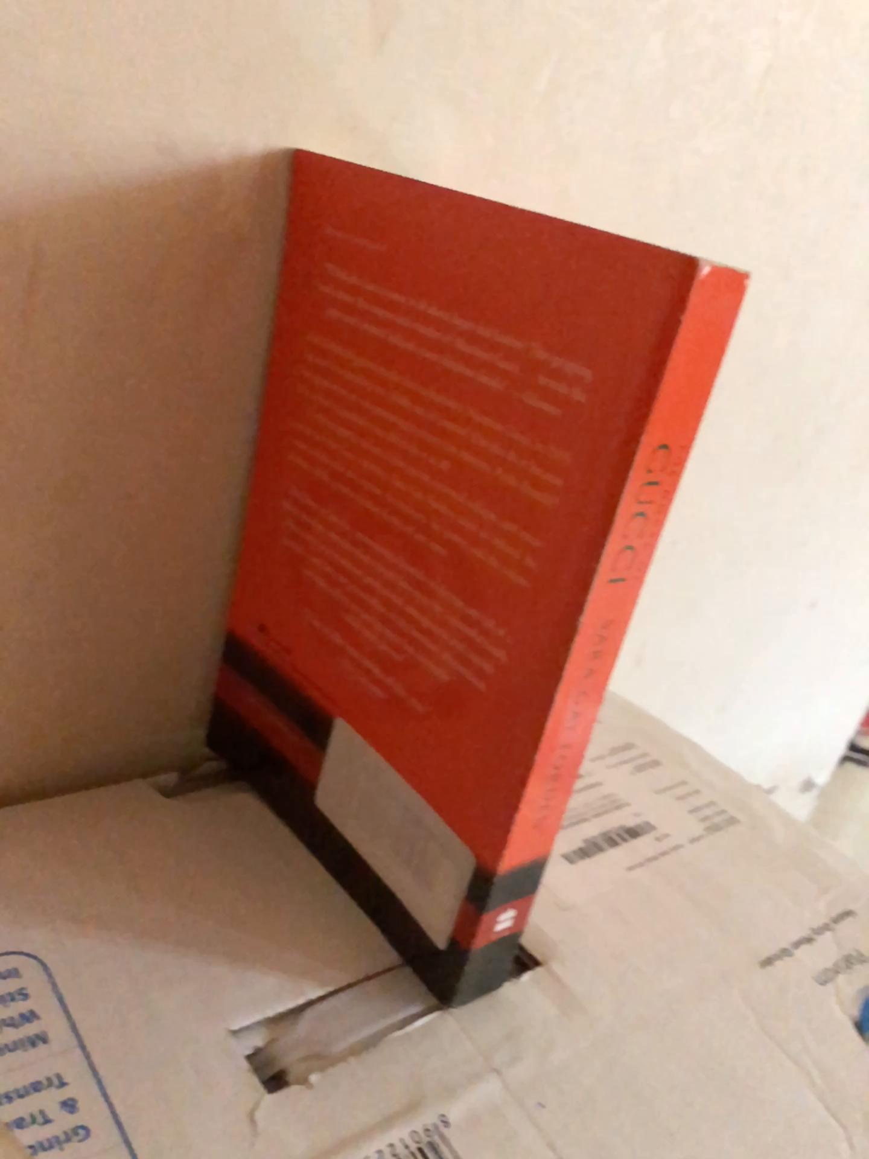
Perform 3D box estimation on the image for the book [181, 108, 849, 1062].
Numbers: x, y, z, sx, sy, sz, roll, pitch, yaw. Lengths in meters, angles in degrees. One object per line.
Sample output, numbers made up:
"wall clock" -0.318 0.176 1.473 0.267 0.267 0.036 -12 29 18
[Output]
"book" -0.008 -0.010 0.309 0.040 0.229 0.190 -2 29 -38
